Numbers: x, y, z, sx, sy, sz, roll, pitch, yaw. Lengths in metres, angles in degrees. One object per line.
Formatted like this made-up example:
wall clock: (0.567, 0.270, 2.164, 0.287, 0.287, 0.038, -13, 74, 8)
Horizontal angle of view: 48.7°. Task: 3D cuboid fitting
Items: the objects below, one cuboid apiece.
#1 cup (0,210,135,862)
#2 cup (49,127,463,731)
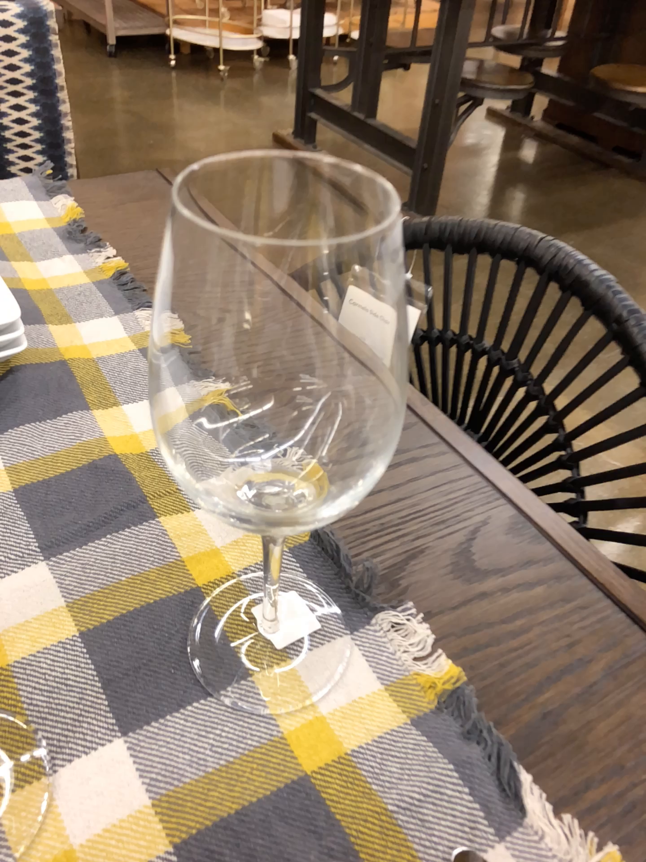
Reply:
cup: (-0.123, 0.056, 0.198, 0.096, 0.193, 0.093, 3, 39, -3)
cup: (-0.017, 0.008, 0.259, 0.096, 0.192, 0.093, 3, 39, -3)
